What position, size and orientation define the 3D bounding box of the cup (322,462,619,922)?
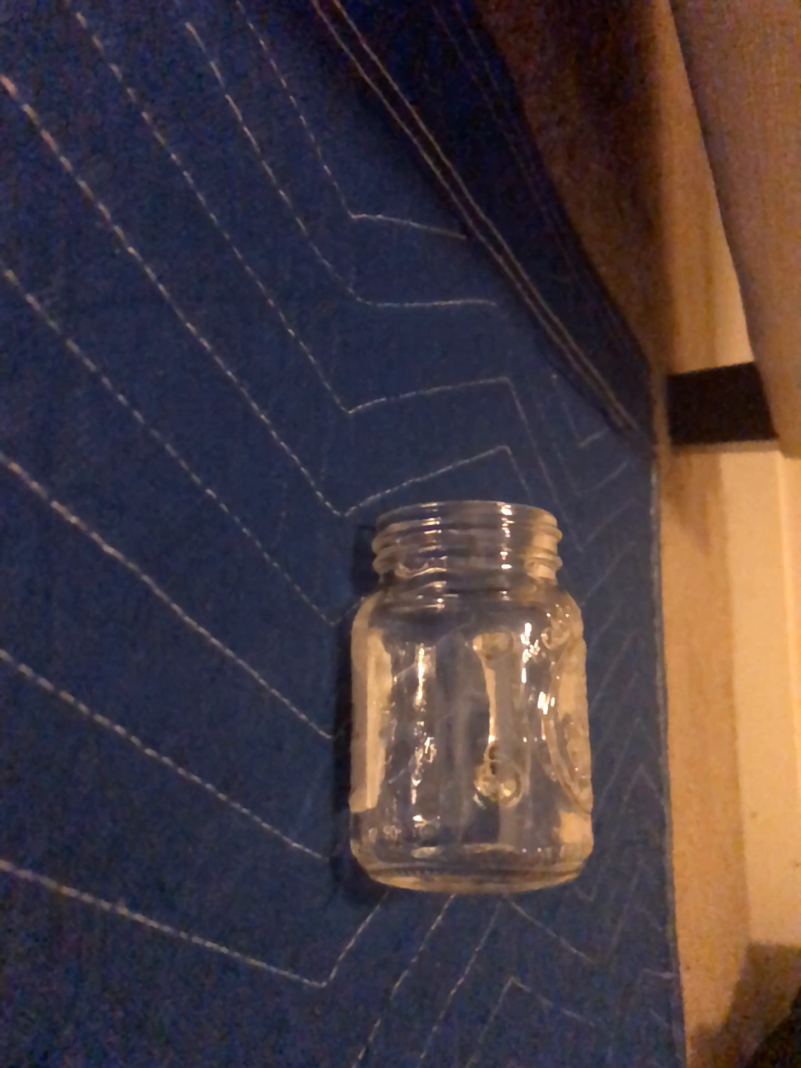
[{"bbox_3d":[0.024,0.038,0.236,0.089,0.043,0.095,4,86,-62],"label":"cup"}]
